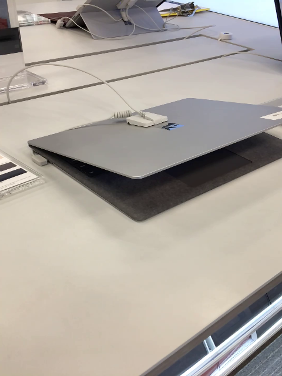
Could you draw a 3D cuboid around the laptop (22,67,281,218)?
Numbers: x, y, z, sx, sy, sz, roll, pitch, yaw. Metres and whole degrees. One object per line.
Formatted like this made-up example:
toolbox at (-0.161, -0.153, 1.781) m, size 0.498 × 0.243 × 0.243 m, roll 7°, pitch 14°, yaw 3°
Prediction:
laptop at (0.054, -0.089, 0.540) m, size 0.318 × 0.062 × 0.229 m, roll -26°, pitch 47°, yaw -31°
